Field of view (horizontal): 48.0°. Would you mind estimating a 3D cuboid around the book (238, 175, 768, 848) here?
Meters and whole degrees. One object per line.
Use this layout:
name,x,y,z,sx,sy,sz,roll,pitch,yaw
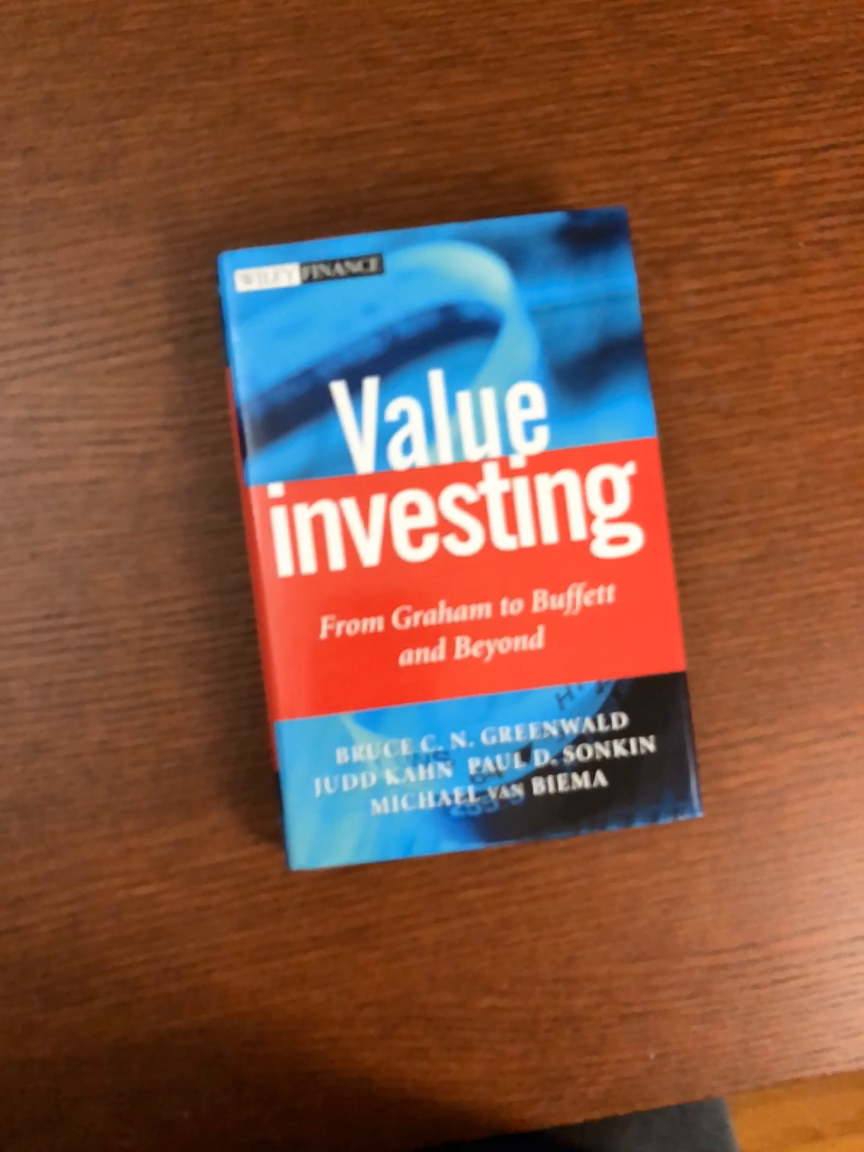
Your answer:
book,0.025,-0.025,0.364,0.170,0.020,0.230,-6,88,-2
